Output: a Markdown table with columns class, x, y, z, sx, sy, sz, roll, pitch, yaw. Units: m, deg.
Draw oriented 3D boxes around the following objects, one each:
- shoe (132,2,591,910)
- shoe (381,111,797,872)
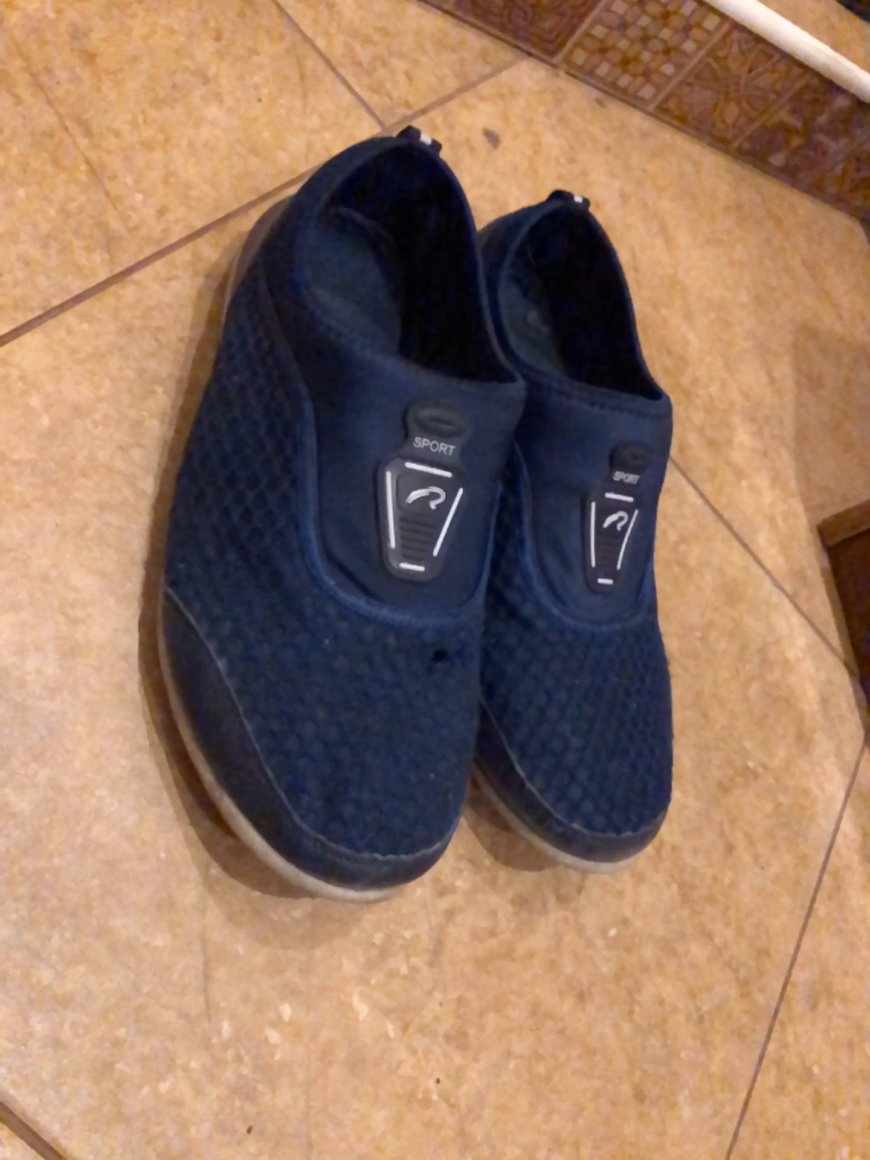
| class | x | y | z | sx | sy | sz | roll | pitch | yaw |
| --- | --- | --- | --- | --- | --- | --- | --- | --- | --- |
| shoe | -0.027 | -0.043 | 0.331 | 0.110 | 0.070 | 0.291 | 12 | 63 | -31 |
| shoe | 0.053 | -0.037 | 0.396 | 0.110 | 0.070 | 0.291 | 9 | 65 | -32 |
